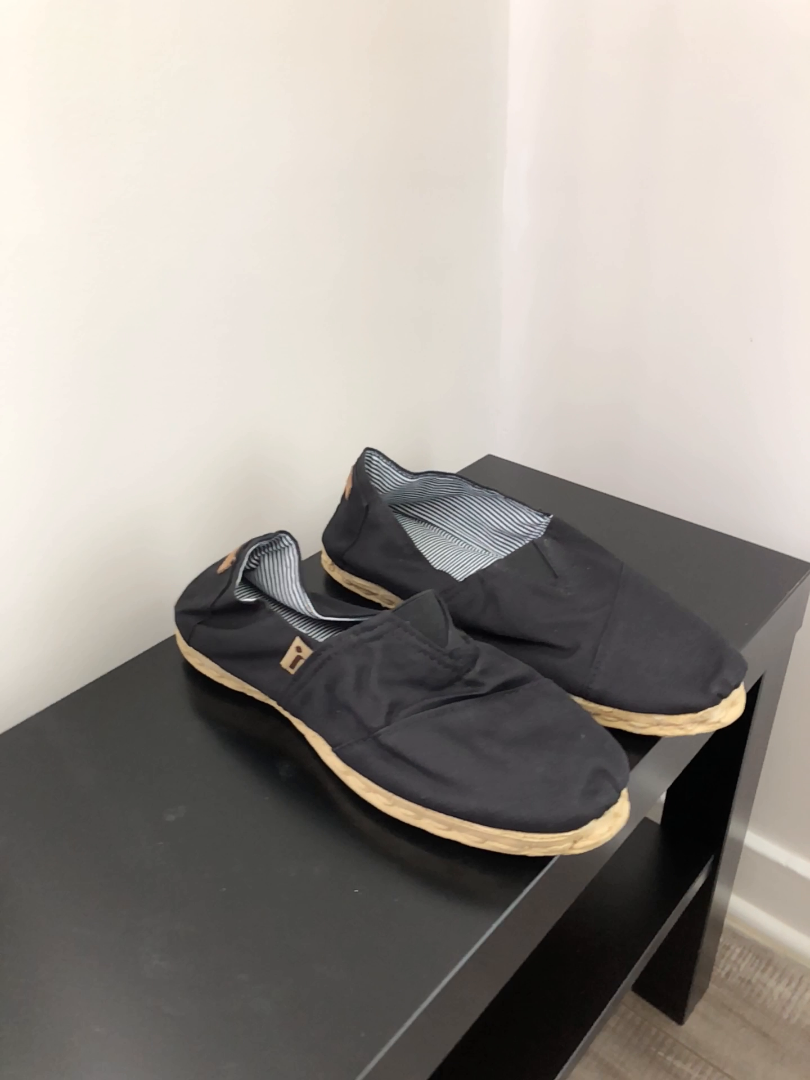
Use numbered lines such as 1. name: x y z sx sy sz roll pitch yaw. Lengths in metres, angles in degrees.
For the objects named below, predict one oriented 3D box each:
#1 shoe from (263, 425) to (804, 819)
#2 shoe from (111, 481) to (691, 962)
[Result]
1. shoe: 0.055 0.026 0.493 0.275 0.080 0.101 24 40 35
2. shoe: -0.016 0.065 0.440 0.275 0.080 0.101 24 40 35
